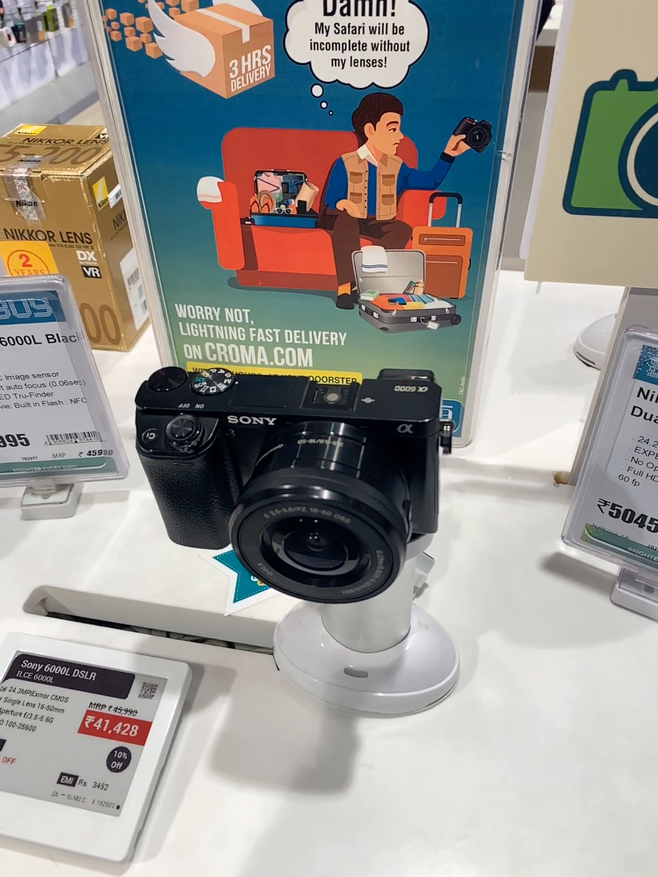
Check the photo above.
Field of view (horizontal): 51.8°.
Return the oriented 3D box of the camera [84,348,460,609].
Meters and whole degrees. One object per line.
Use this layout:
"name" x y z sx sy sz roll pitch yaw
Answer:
"camera" -0.015 0.014 0.254 0.118 0.073 0.056 3 41 6
